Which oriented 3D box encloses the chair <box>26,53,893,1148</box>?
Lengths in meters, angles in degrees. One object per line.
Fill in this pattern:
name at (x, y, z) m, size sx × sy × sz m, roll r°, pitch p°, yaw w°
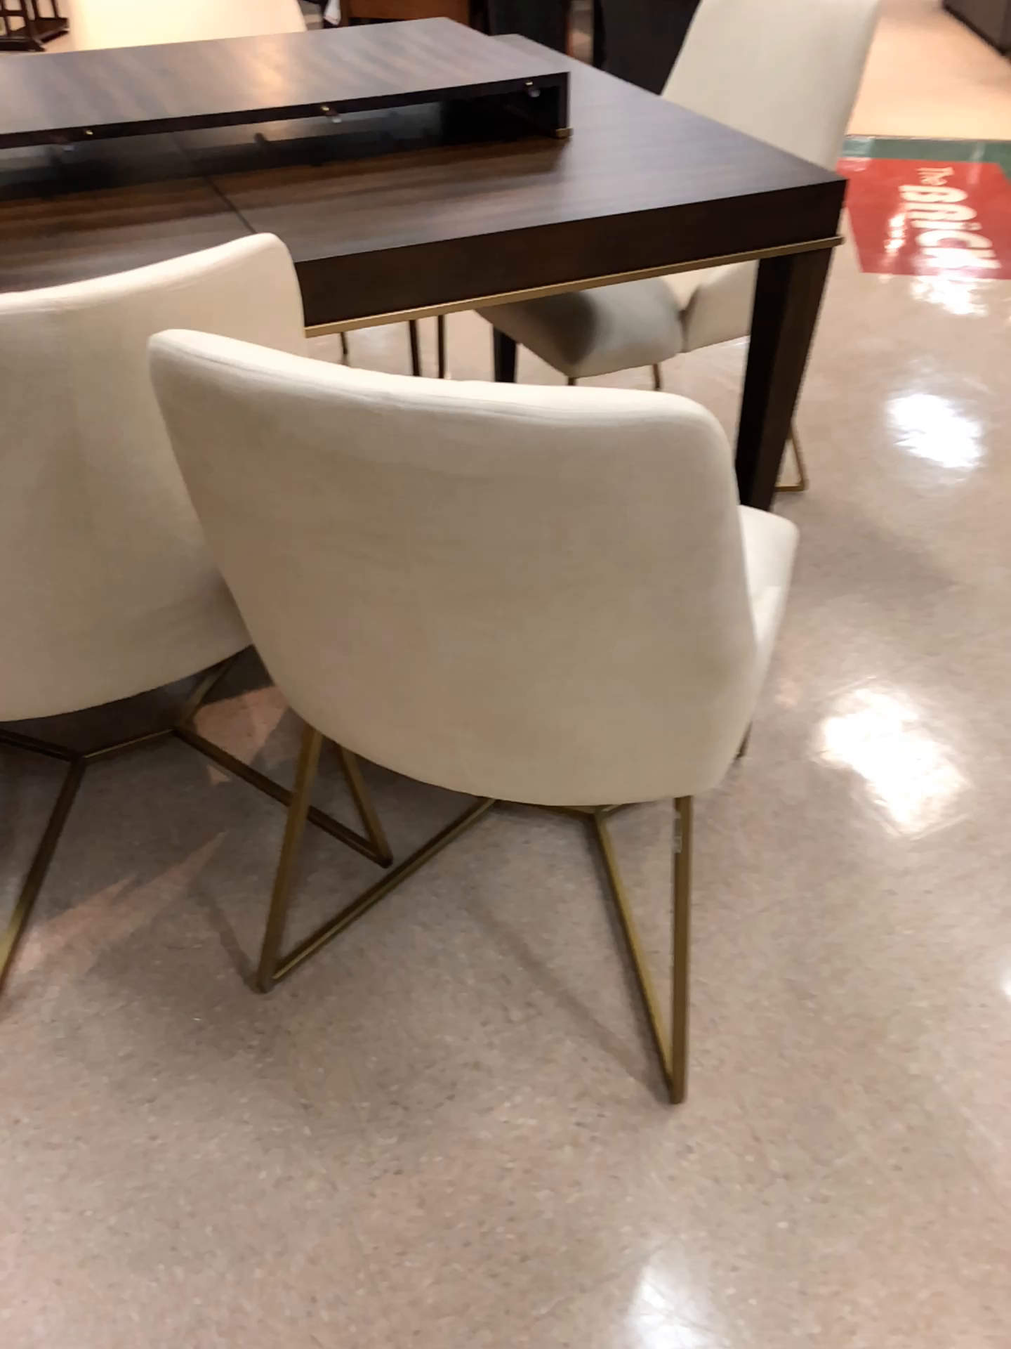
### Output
chair at (0.031, -0.087, 1.202) m, size 0.540 × 0.904 × 0.644 m, roll 11°, pitch 41°, yaw 13°
